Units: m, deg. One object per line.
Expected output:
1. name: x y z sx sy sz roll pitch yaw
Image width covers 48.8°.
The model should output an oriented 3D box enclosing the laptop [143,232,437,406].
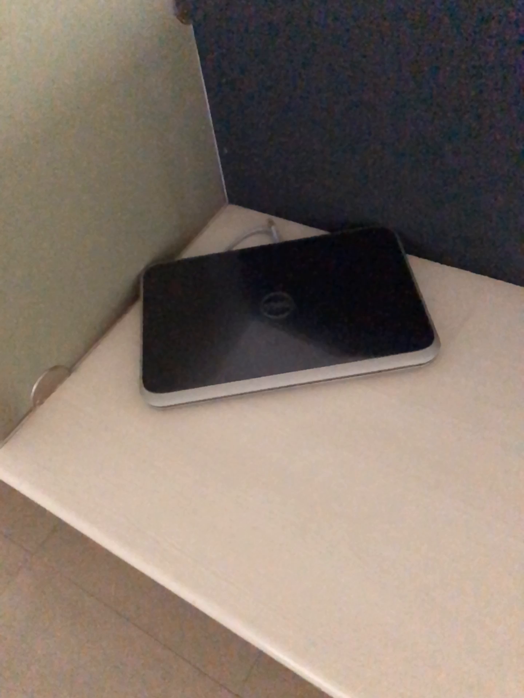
1. laptop: 0.017 -0.051 0.804 0.371 0.010 0.247 -9 50 4
